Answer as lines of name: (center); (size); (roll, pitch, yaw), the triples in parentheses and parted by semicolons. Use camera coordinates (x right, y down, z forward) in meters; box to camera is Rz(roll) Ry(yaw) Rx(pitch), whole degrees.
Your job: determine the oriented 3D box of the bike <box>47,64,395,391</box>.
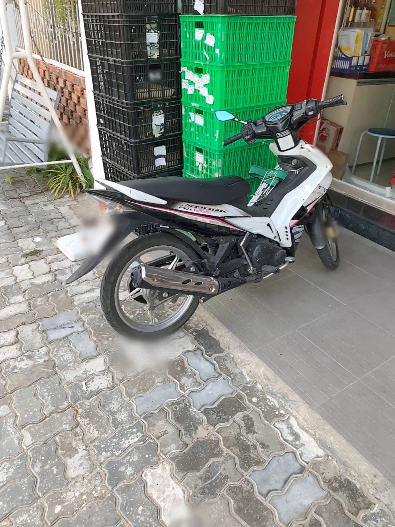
bike: (0.218, -0.378, 2.307); (1.818, 1.186, 0.669); (-23, 39, -33)
